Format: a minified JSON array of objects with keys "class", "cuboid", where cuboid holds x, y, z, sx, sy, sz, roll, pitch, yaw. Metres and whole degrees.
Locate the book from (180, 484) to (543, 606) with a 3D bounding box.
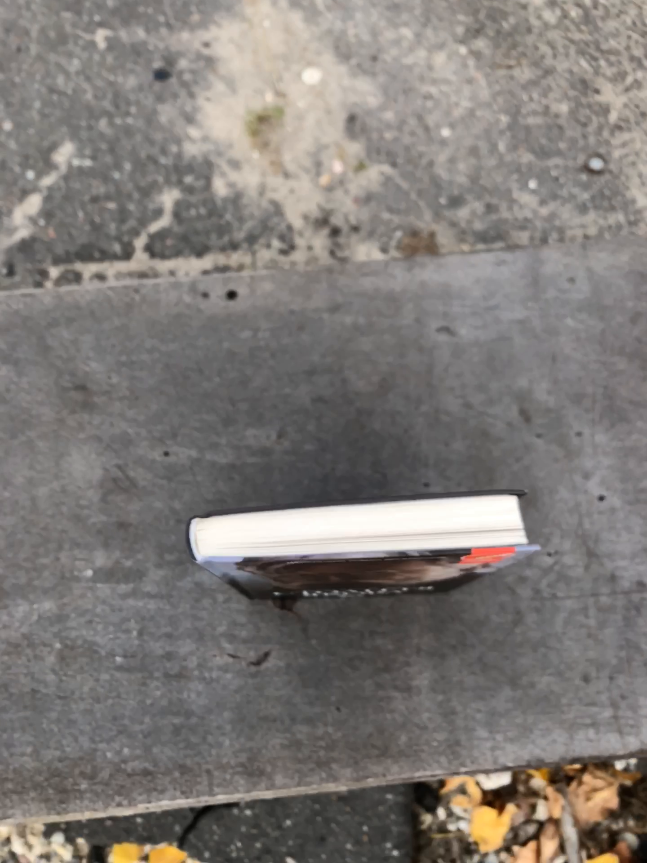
[{"class":"book","cuboid":[0.016,0.069,0.385,0.140,0.212,0.030,-1,72,1]}]
